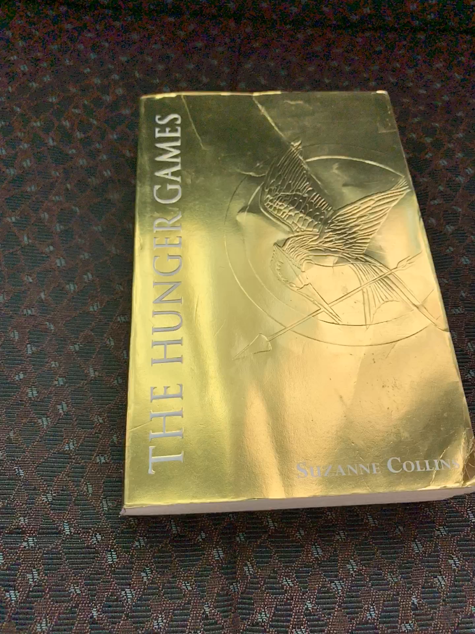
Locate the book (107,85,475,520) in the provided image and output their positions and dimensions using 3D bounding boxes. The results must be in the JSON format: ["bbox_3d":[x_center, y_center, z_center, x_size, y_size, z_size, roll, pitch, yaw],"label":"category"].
[{"bbox_3d":[0.021,-0.020,0.230,0.142,0.037,0.201,-2,64,-5],"label":"book"}]
